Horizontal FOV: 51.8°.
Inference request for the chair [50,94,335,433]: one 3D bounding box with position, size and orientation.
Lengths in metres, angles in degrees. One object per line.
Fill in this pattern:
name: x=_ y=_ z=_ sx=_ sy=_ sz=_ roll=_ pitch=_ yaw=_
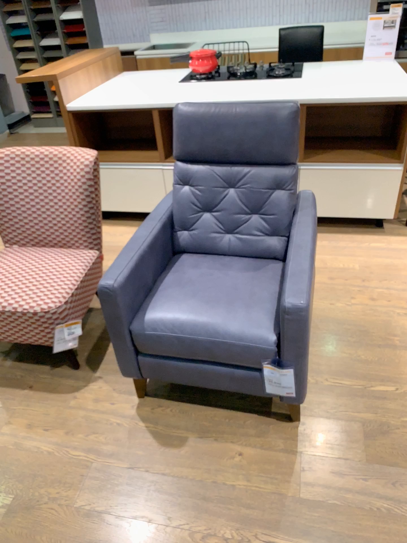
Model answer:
chair: x=0.083 y=-0.081 z=1.704 sx=0.770 sy=0.996 sz=0.853 roll=4 pitch=36 yaw=14
